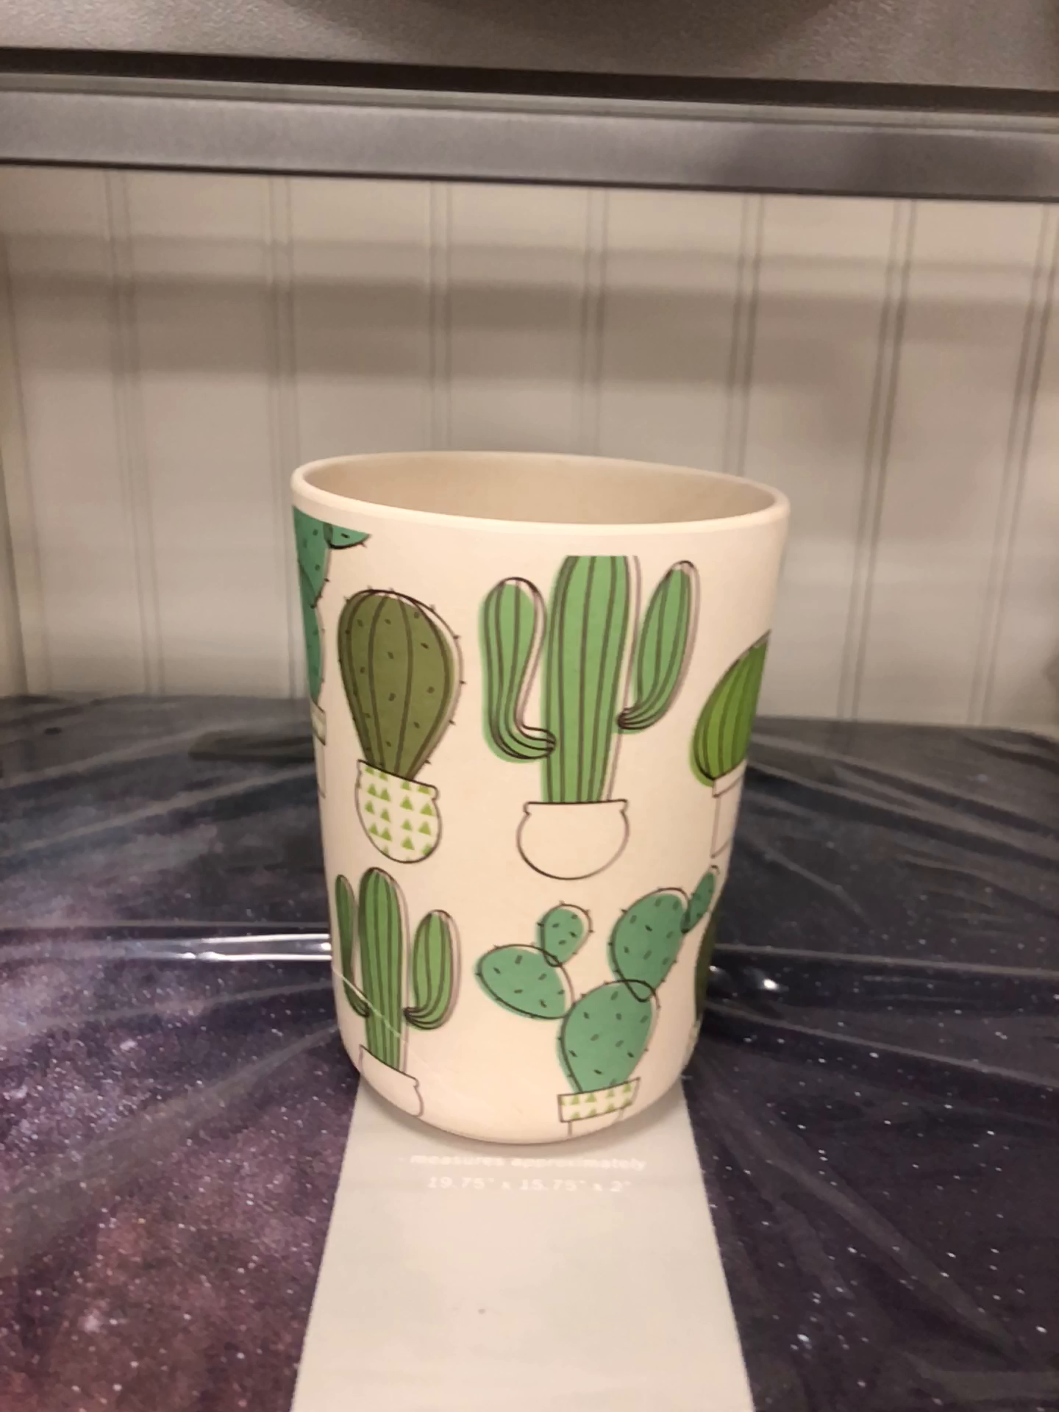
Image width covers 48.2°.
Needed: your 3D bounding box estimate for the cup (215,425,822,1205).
[{"bbox_3d":[0.004,0.013,0.255,0.100,0.129,0.091,6,19,13],"label":"cup"}]
